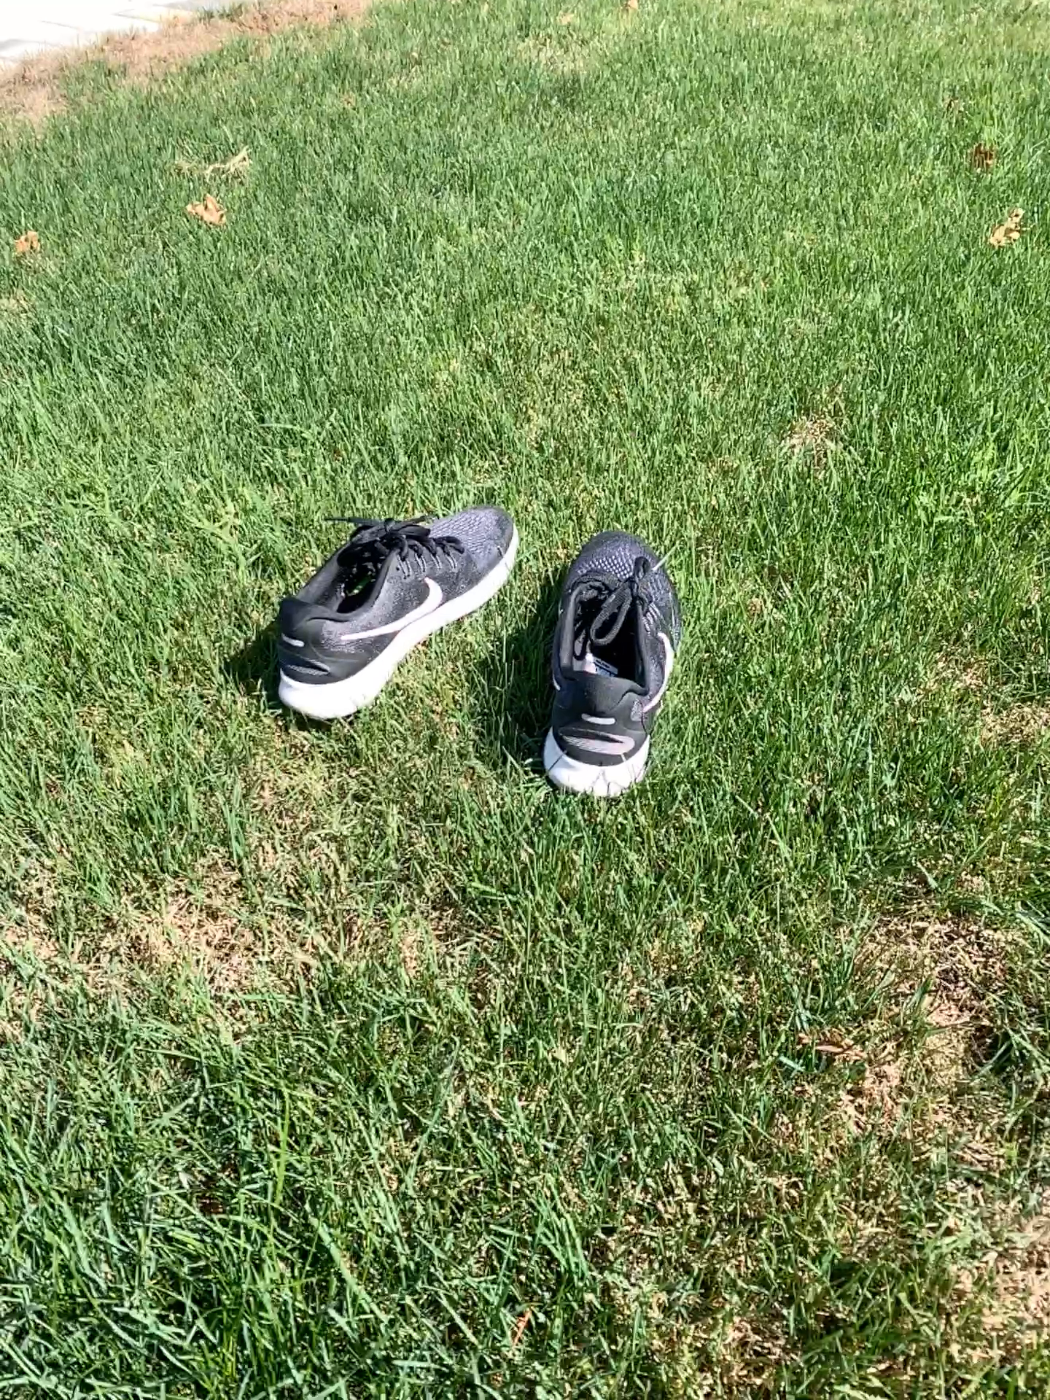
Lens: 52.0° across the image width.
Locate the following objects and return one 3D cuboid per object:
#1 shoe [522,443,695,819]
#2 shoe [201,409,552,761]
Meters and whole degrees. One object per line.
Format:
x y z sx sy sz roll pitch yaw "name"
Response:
0.067 -0.062 0.796 0.100 0.129 0.271 4 43 7 "shoe"
-0.100 -0.101 0.851 0.100 0.129 0.281 26 50 27 "shoe"
